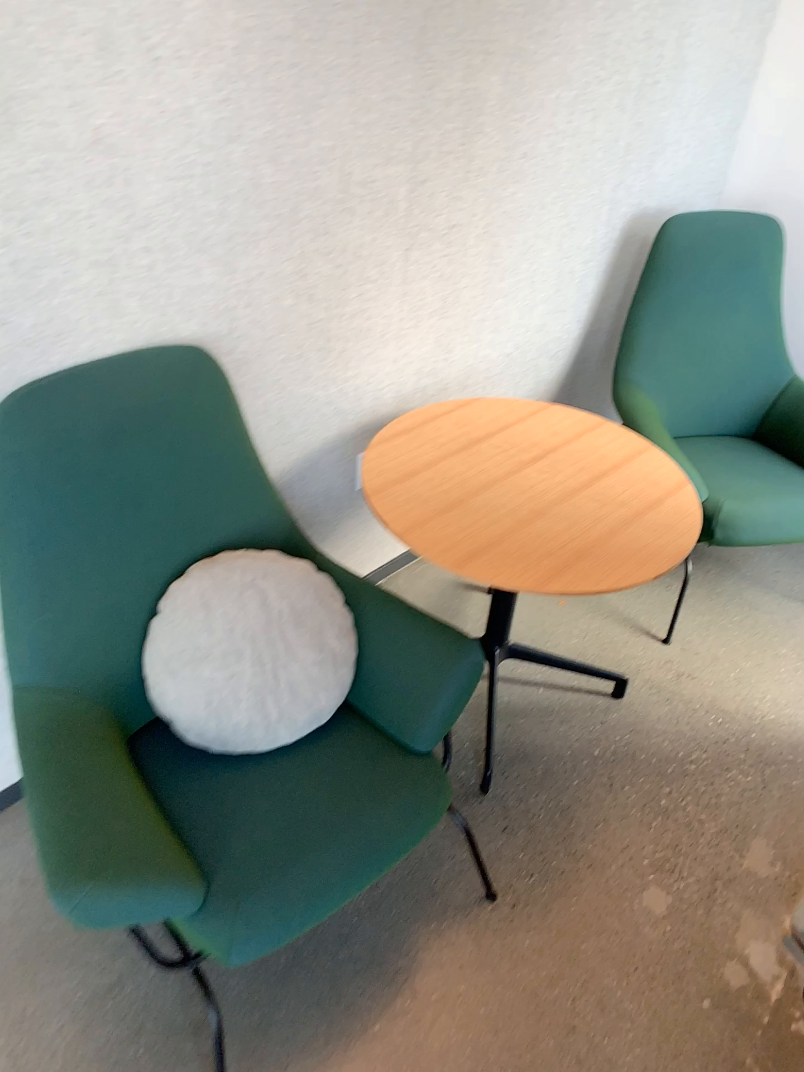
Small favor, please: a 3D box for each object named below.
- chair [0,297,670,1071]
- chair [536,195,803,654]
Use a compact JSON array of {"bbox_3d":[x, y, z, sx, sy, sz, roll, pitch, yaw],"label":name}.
[{"bbox_3d":[-0.222,0.272,1.565,0.833,1.034,0.853,-26,48,-34],"label":"chair"},{"bbox_3d":[1.041,-0.382,2.477,0.820,0.954,1.006,-4,39,-12],"label":"chair"}]
